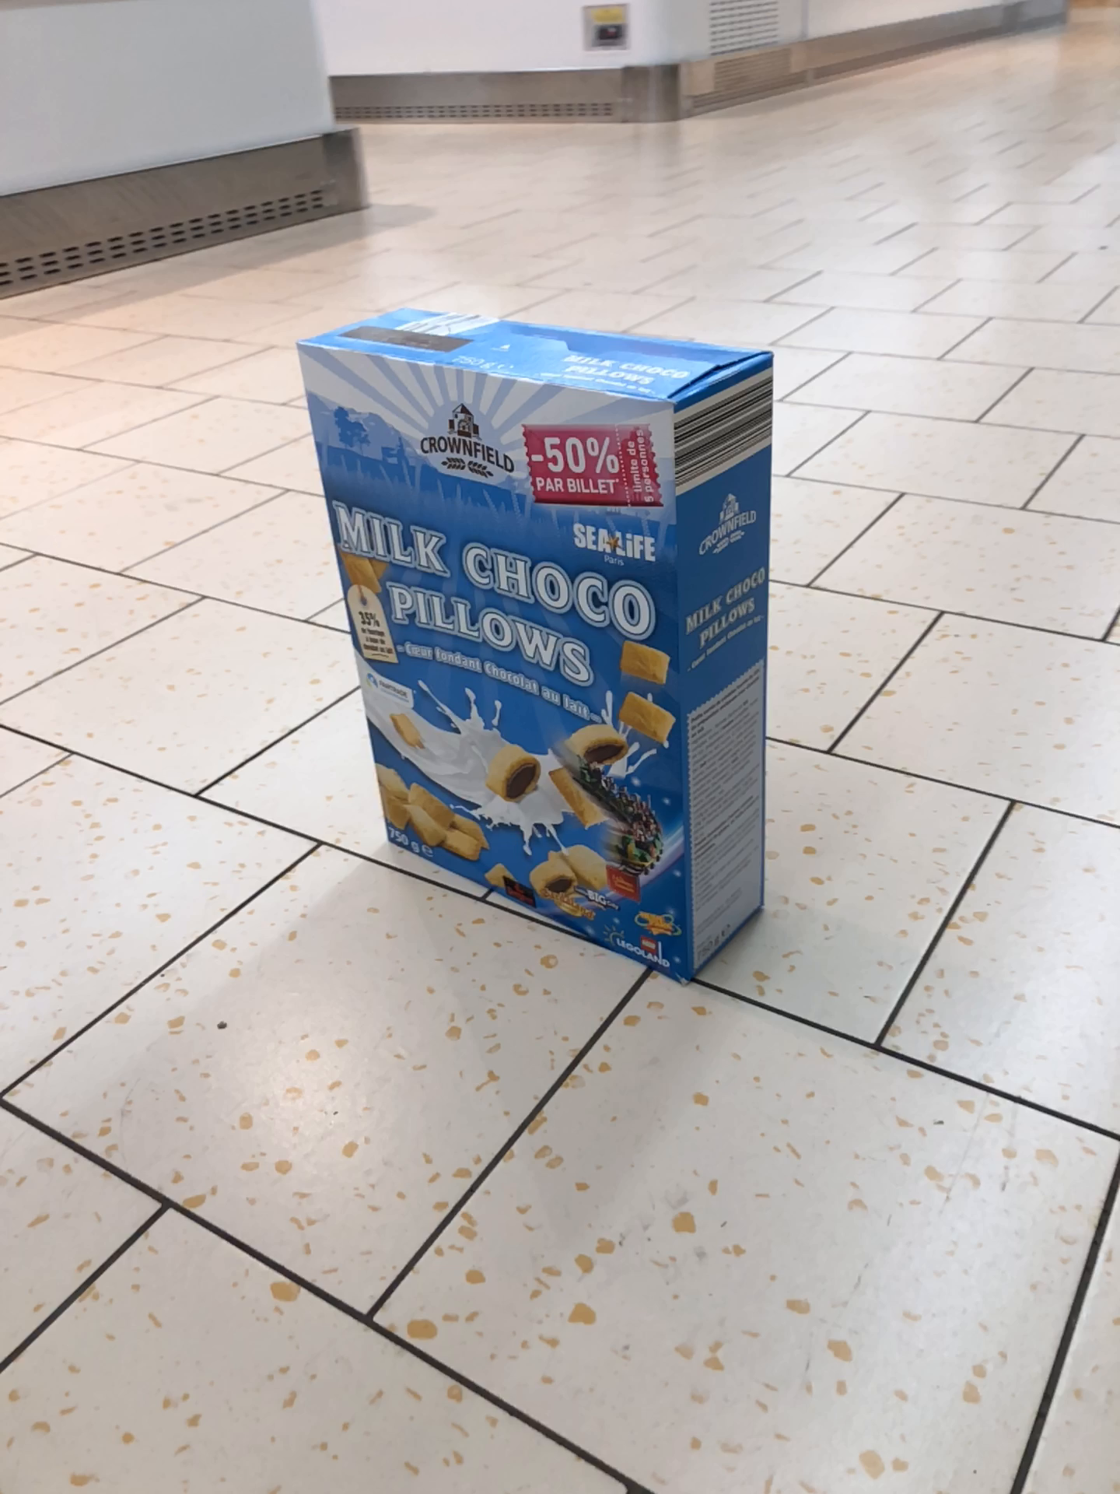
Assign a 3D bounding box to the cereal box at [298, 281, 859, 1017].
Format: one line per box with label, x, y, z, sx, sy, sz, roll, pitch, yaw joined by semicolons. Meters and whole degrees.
cereal box;0.007;-0.049;0.528;0.210;0.259;0.080;22;39;37
